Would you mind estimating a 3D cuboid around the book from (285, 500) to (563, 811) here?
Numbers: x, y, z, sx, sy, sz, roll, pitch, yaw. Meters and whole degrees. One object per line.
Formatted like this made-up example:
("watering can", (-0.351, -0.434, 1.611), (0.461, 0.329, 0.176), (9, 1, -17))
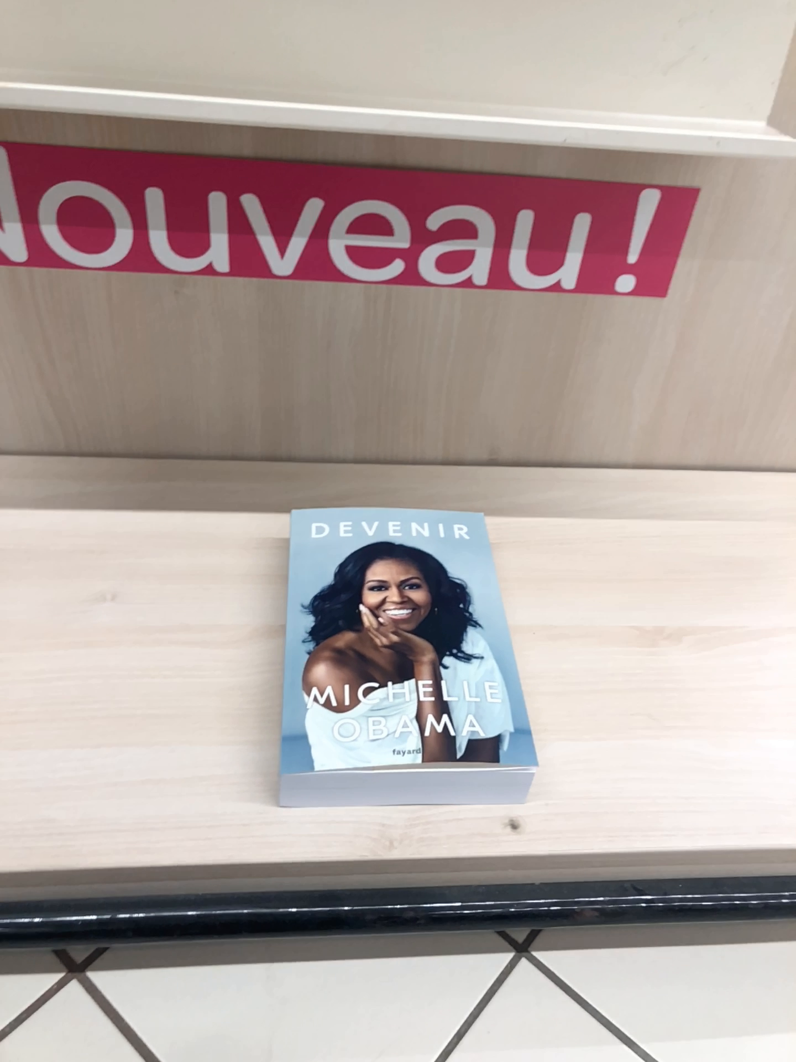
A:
("book", (0.007, 0.074, 0.611), (0.163, 0.040, 0.241), (1, 42, -6))
